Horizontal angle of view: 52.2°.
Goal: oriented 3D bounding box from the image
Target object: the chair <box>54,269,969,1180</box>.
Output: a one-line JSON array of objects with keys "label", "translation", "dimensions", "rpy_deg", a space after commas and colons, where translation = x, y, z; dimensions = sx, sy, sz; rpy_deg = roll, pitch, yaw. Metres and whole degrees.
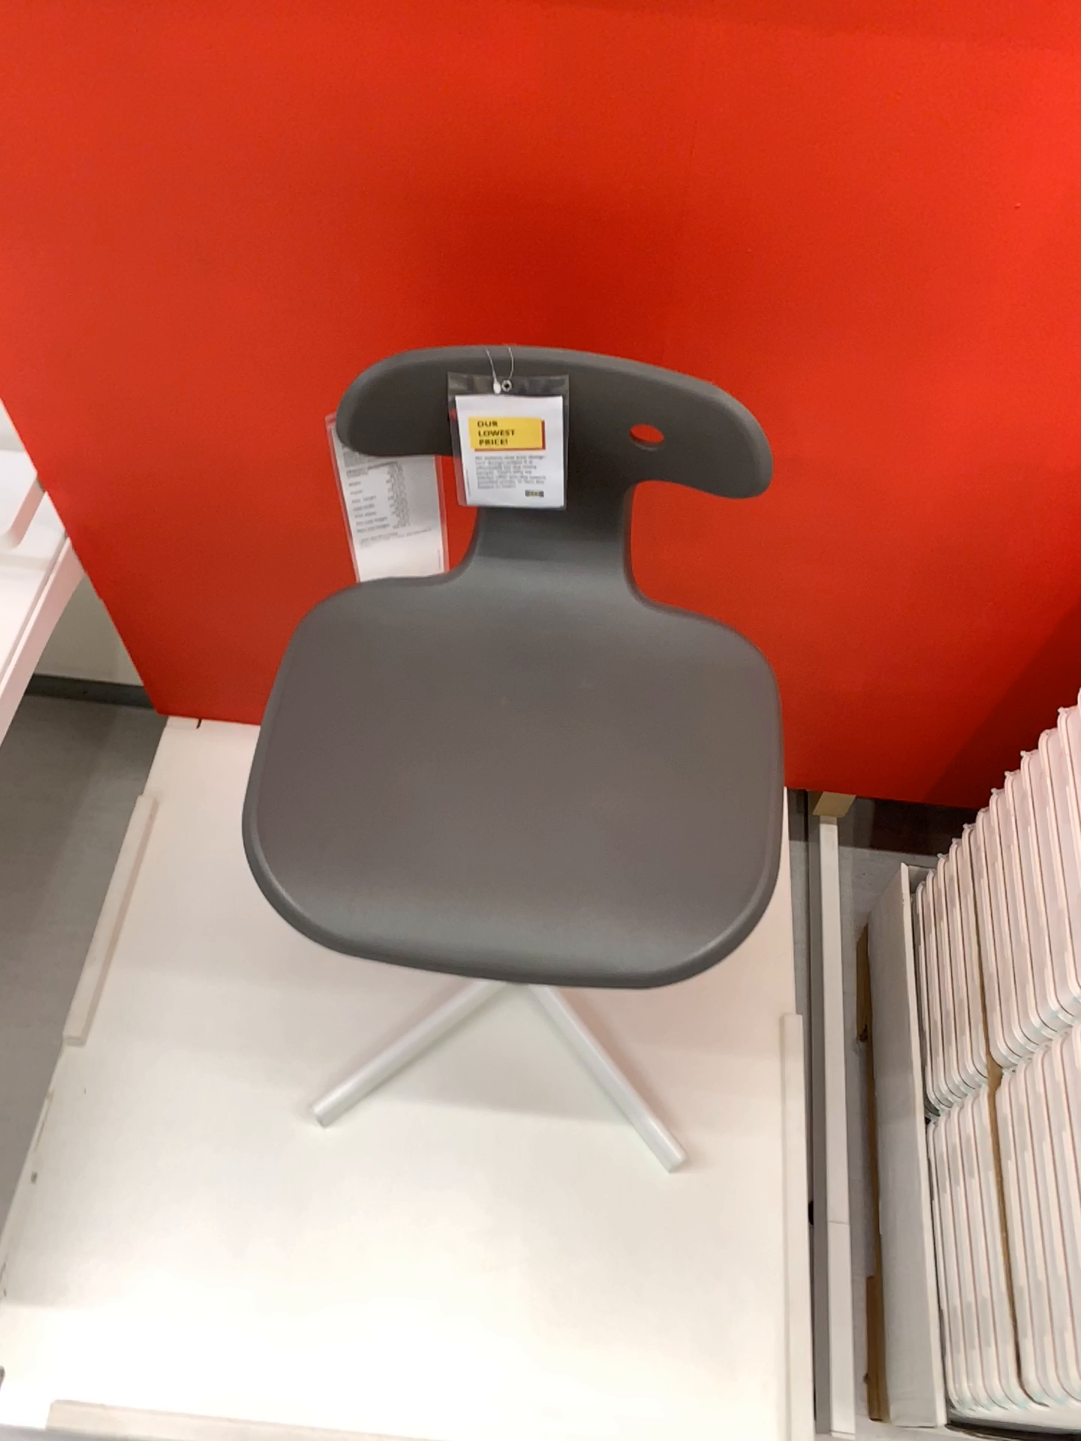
[{"label": "chair", "translation": [-0.003, 0.071, 0.966], "dimensions": [0.460, 0.698, 0.451], "rpy_deg": [6, 57, 2]}]
